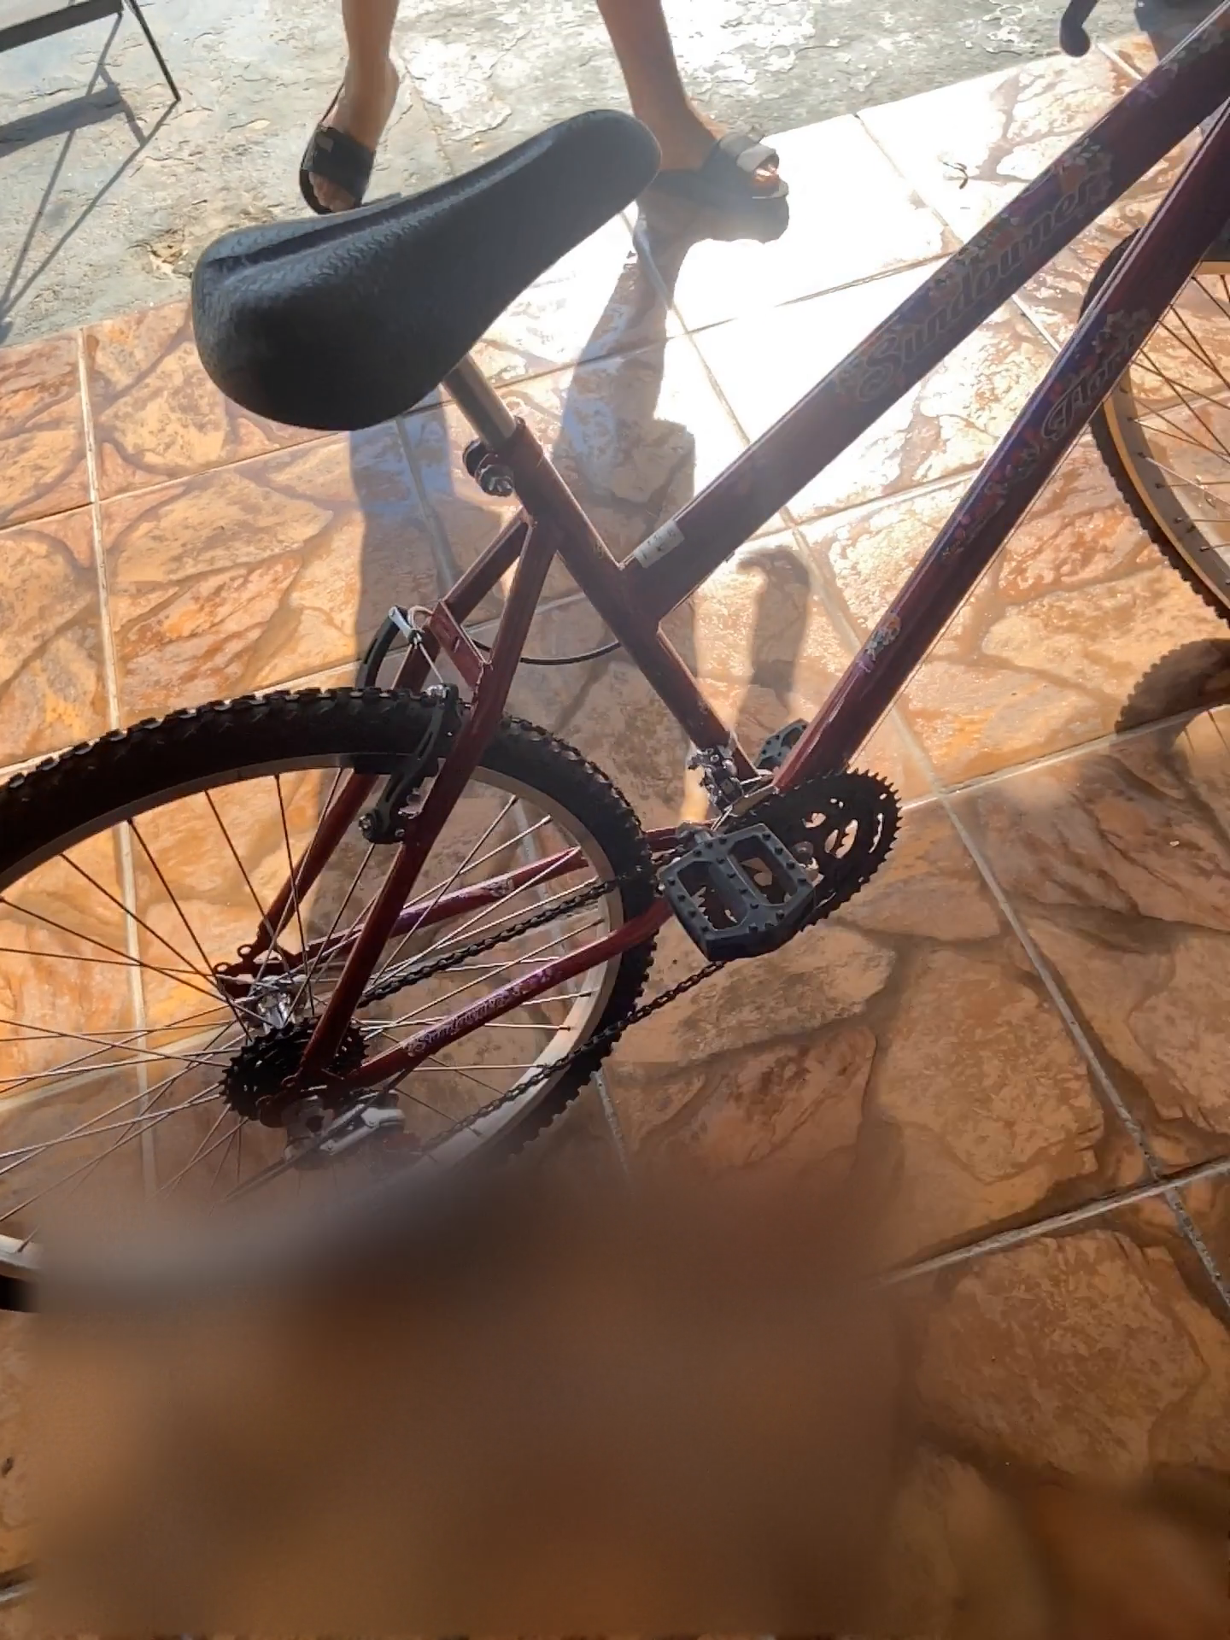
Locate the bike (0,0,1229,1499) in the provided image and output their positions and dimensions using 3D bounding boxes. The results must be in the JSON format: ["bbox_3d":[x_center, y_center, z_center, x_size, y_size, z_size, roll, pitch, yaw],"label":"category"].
[{"bbox_3d":[0.071,-0.090,0.810,1.408,1.083,0.551,-16,57,-1],"label":"bike"}]
